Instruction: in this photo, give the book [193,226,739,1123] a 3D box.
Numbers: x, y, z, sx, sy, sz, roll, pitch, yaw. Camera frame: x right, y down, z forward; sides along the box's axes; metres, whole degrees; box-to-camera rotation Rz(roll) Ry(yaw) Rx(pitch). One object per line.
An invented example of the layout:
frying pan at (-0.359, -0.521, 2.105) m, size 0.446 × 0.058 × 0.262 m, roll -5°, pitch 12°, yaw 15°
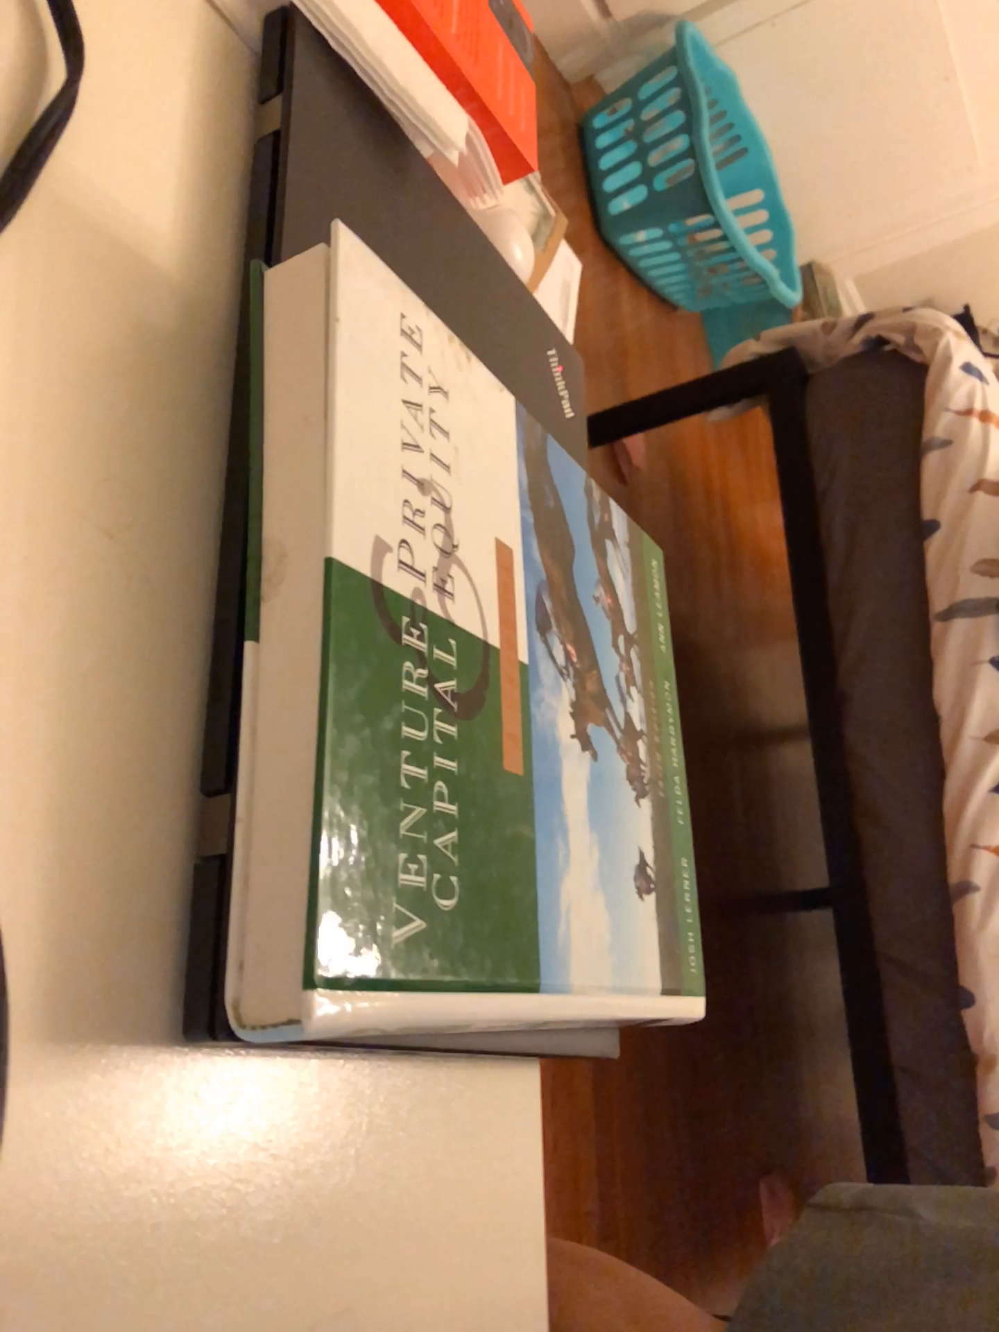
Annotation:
book at (0.010, 0.026, 0.375) m, size 0.271 × 0.030 × 0.220 m, roll 28°, pitch 54°, yaw -56°
